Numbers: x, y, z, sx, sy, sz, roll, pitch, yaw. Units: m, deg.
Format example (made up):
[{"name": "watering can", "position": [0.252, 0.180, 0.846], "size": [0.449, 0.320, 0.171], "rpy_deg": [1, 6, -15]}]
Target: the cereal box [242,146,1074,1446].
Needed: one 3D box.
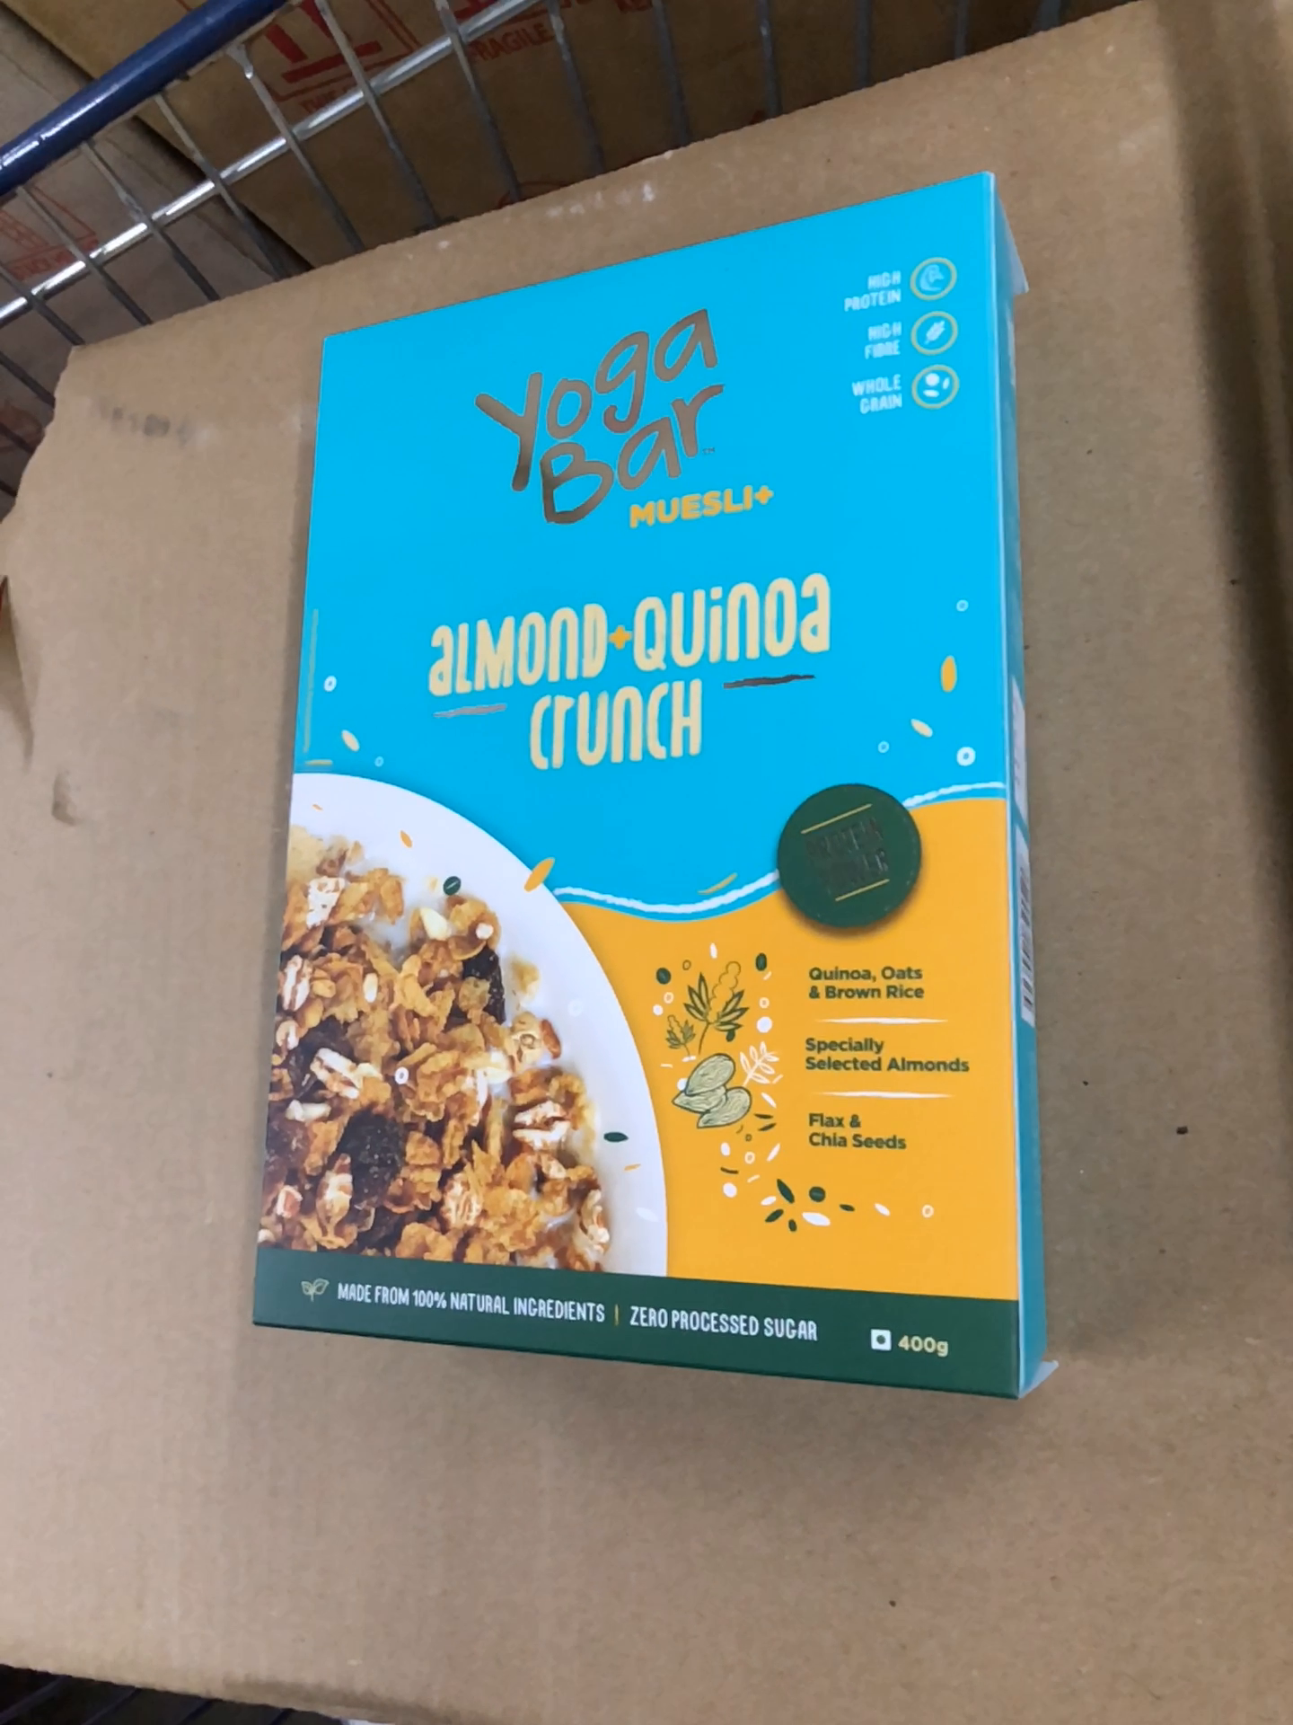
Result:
[{"name": "cereal box", "position": [0.004, -0.012, 0.320], "size": [0.160, 0.070, 0.240], "rpy_deg": [-3, 80, 21]}]
